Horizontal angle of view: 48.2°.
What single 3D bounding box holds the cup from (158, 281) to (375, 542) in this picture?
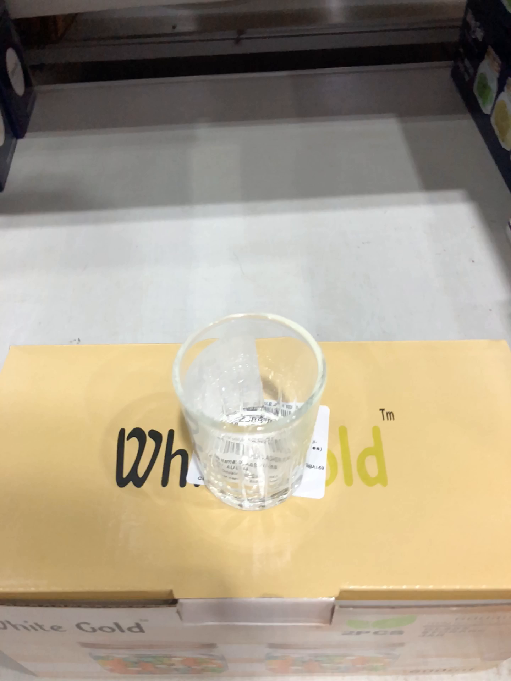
[{"bbox_3d":[0.002,0.024,0.186,0.050,0.060,0.050,-1,50,1],"label":"cup"}]
